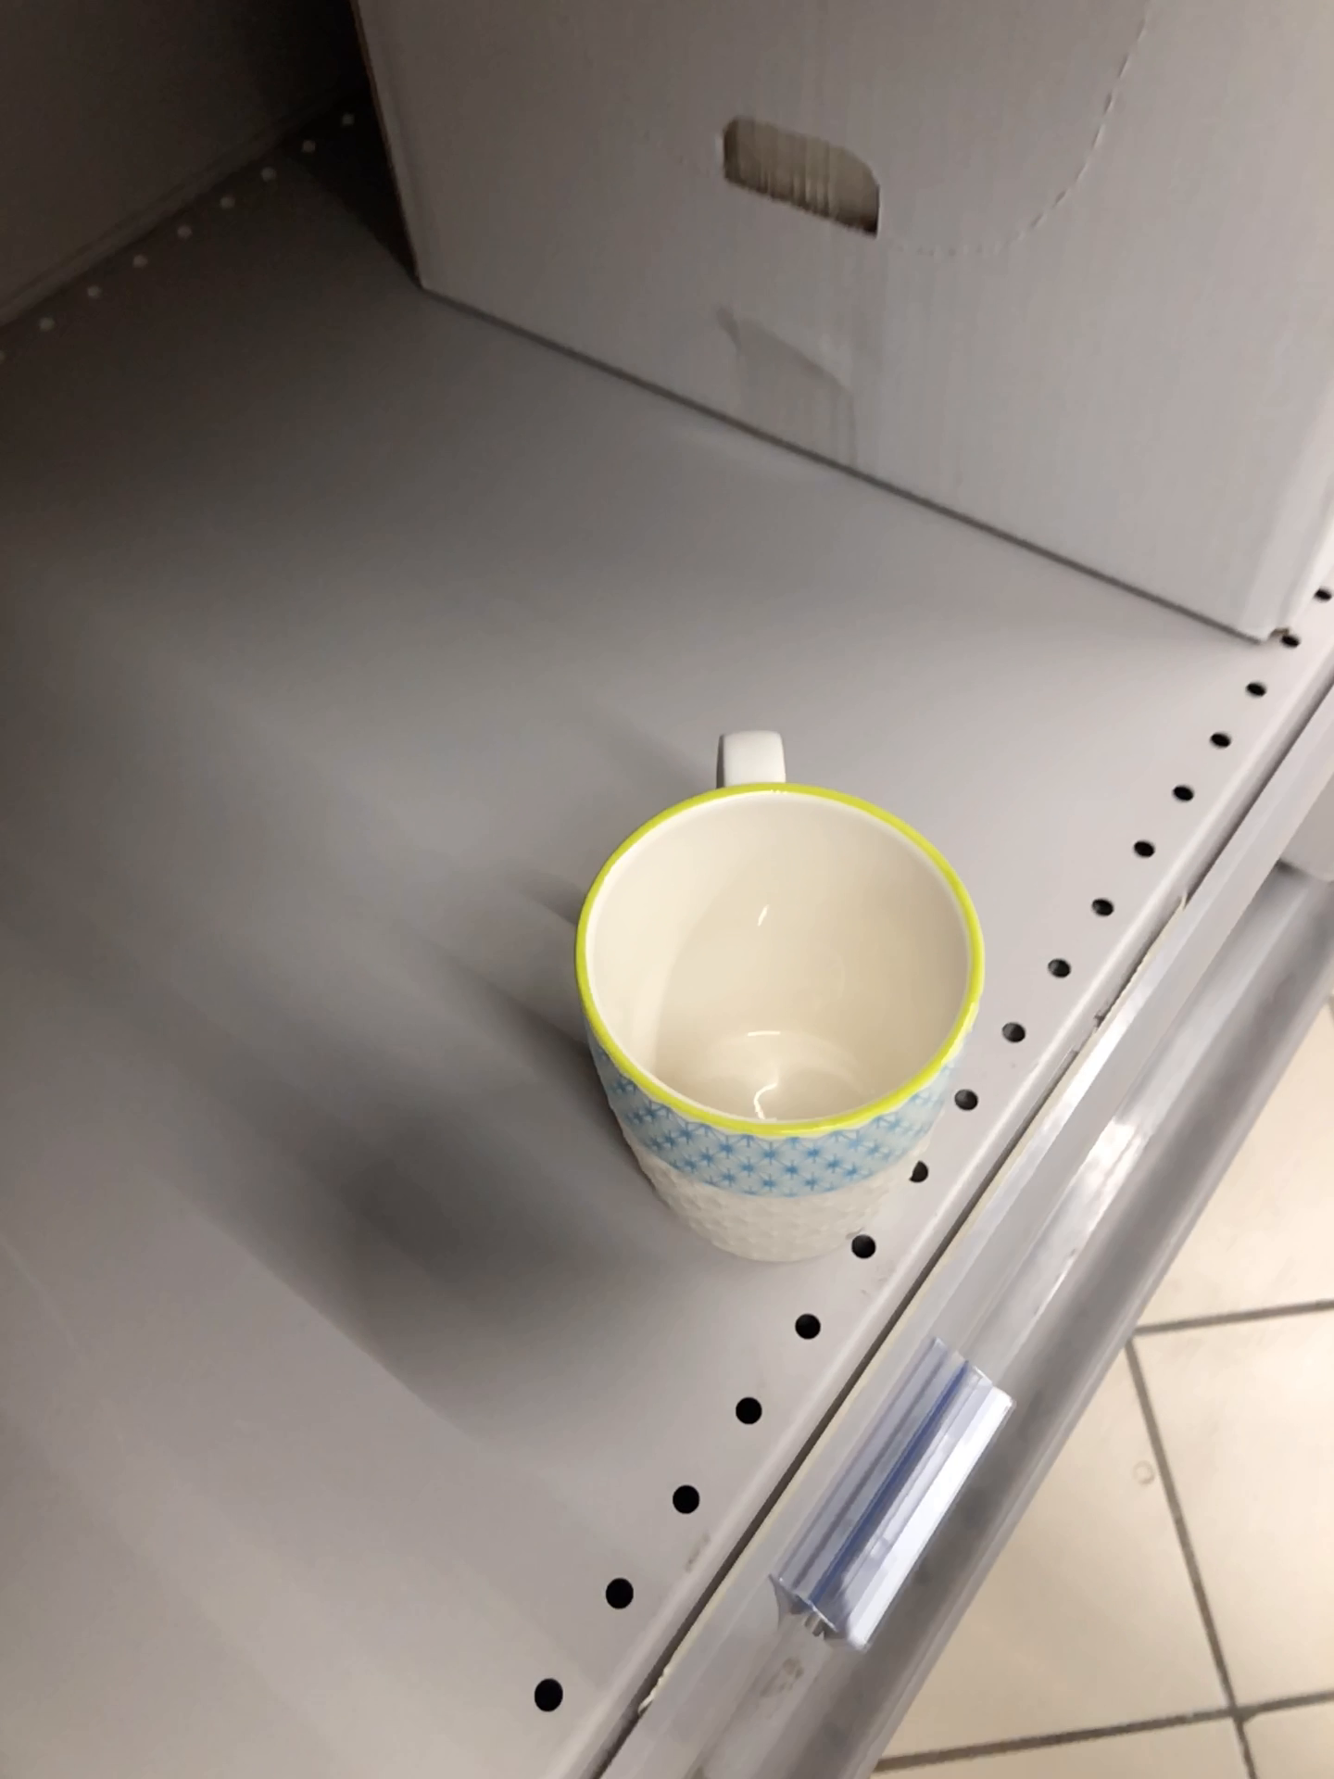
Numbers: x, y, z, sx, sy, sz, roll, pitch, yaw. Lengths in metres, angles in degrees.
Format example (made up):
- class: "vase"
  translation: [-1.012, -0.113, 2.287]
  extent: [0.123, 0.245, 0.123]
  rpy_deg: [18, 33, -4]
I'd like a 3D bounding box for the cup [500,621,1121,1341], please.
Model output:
- class: "cup"
  translation: [0.026, 0.022, 0.340]
  extent: [0.098, 0.092, 0.119]
  rpy_deg: [-12, 58, -5]
